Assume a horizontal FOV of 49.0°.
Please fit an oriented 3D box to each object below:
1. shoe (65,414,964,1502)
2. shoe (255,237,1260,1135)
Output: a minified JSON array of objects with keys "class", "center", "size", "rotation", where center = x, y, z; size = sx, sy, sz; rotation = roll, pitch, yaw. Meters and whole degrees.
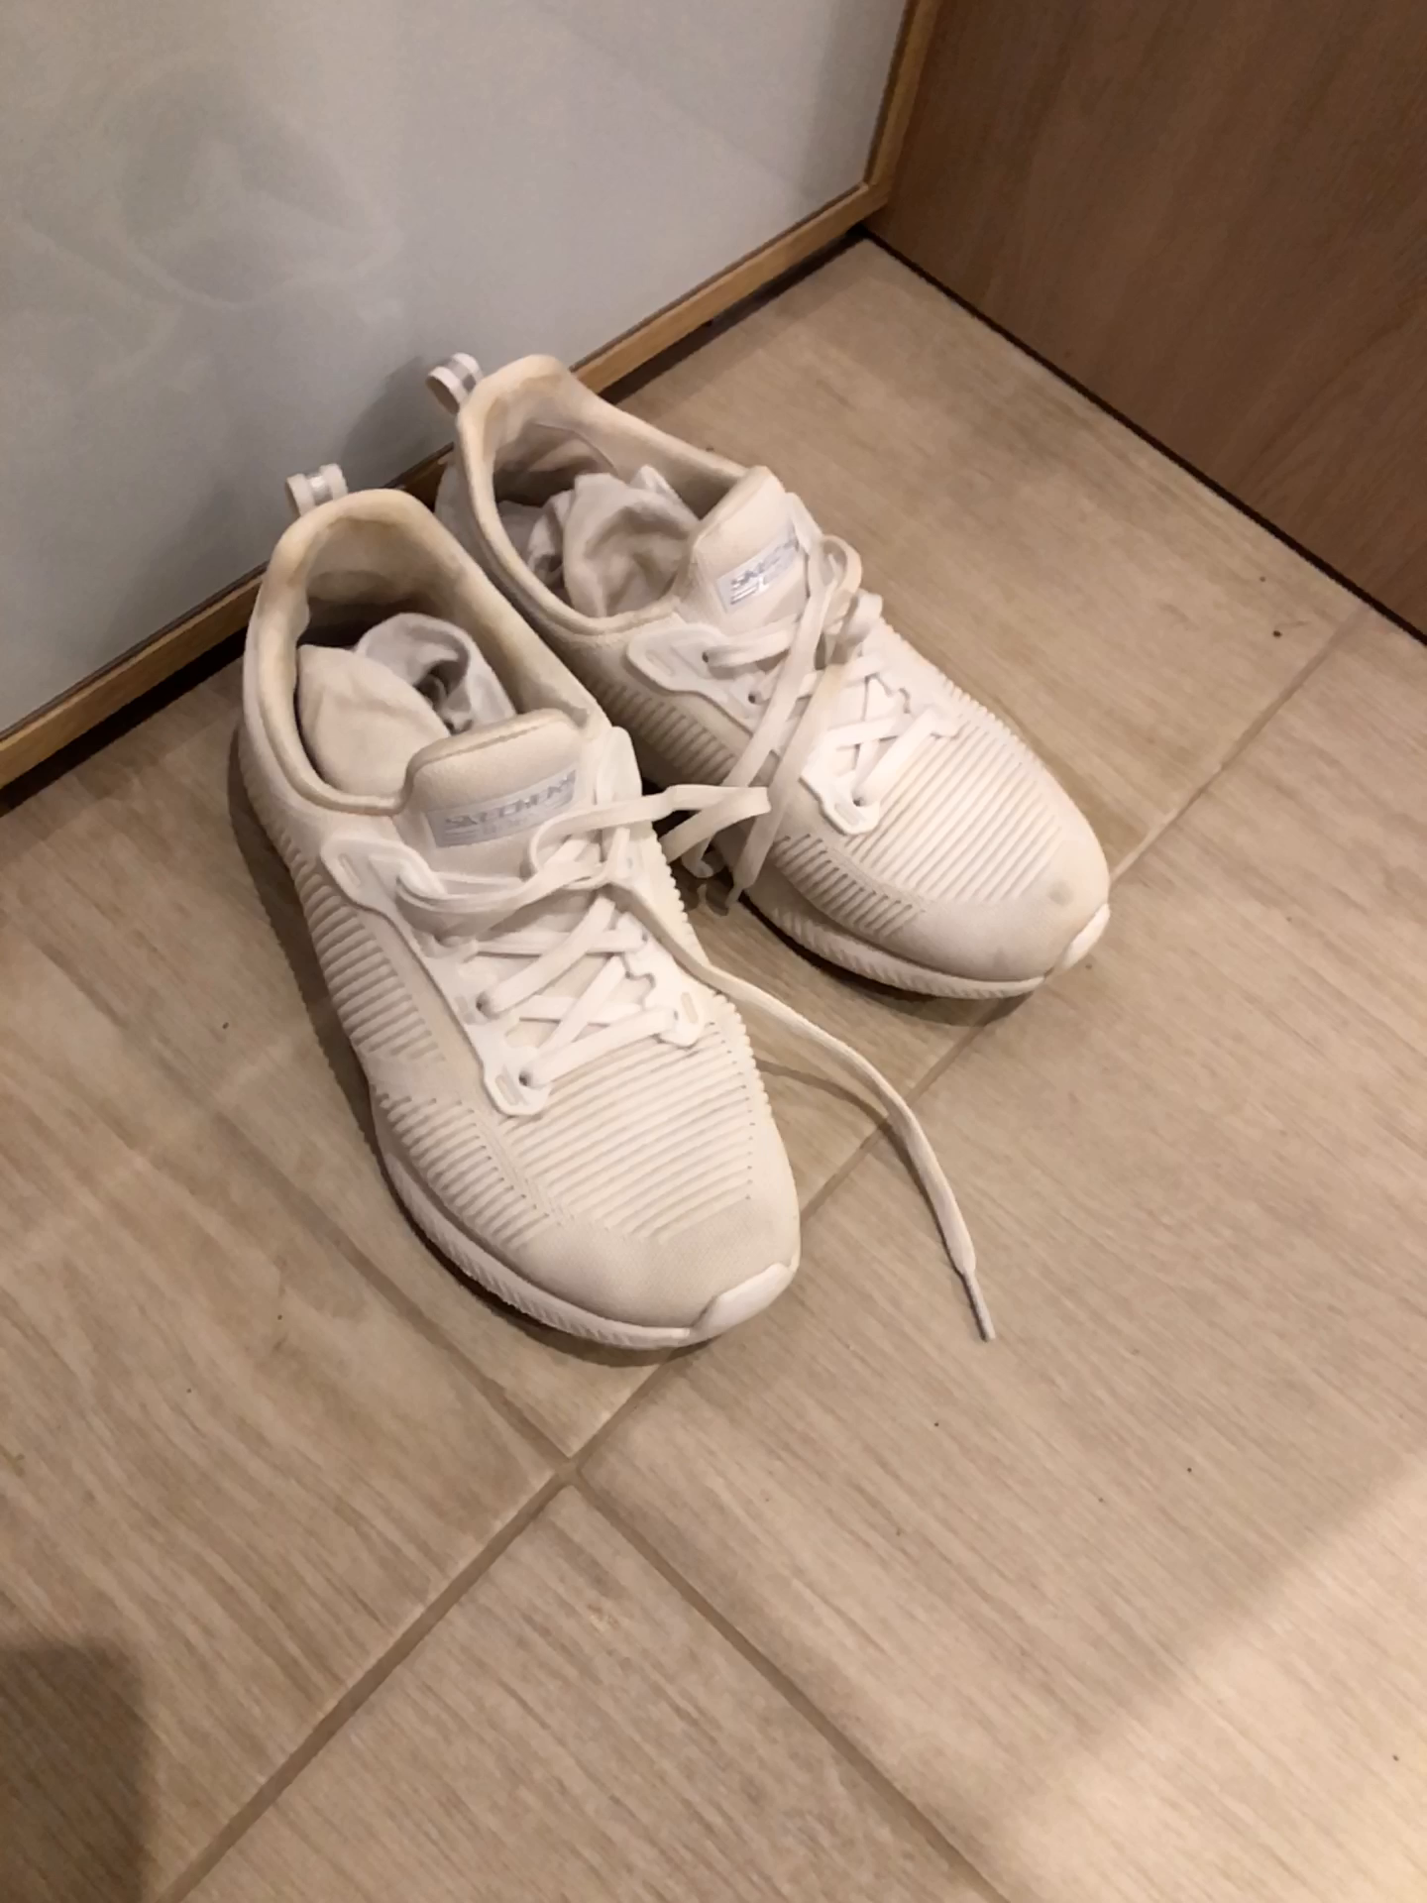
[{"class":"shoe","center":[-0.065,-0.004,0.444],"size":[0.110,0.109,0.271],"rotation":[-26,69,-21]},{"class":"shoe","center":[0.005,-0.085,0.497],"size":[0.280,0.109,0.110],"rotation":[35,62,10]}]
